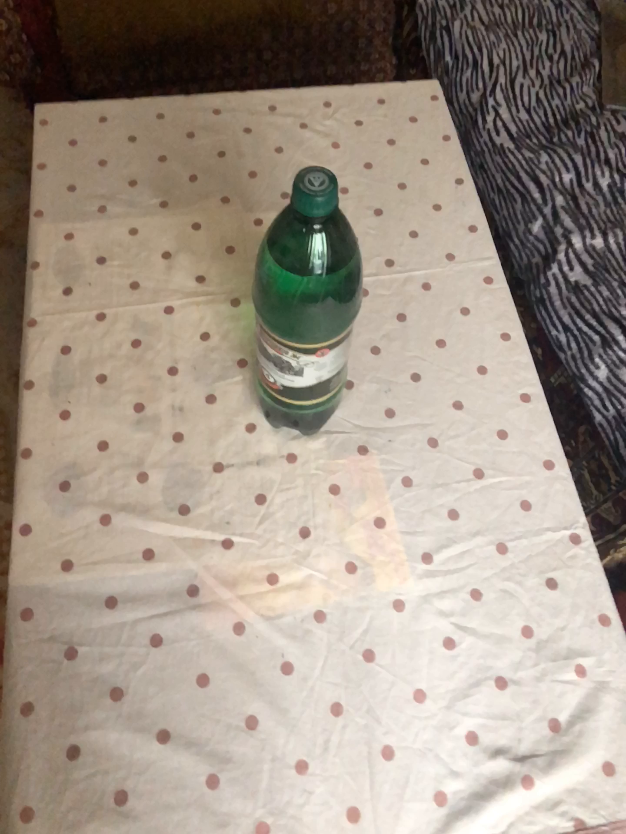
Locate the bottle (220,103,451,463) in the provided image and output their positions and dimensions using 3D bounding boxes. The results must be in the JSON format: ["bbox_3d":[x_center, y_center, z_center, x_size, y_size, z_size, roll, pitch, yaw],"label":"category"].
[{"bbox_3d":[0.005,-0.082,0.544,0.100,0.279,0.100,2,64,-4],"label":"bottle"}]
